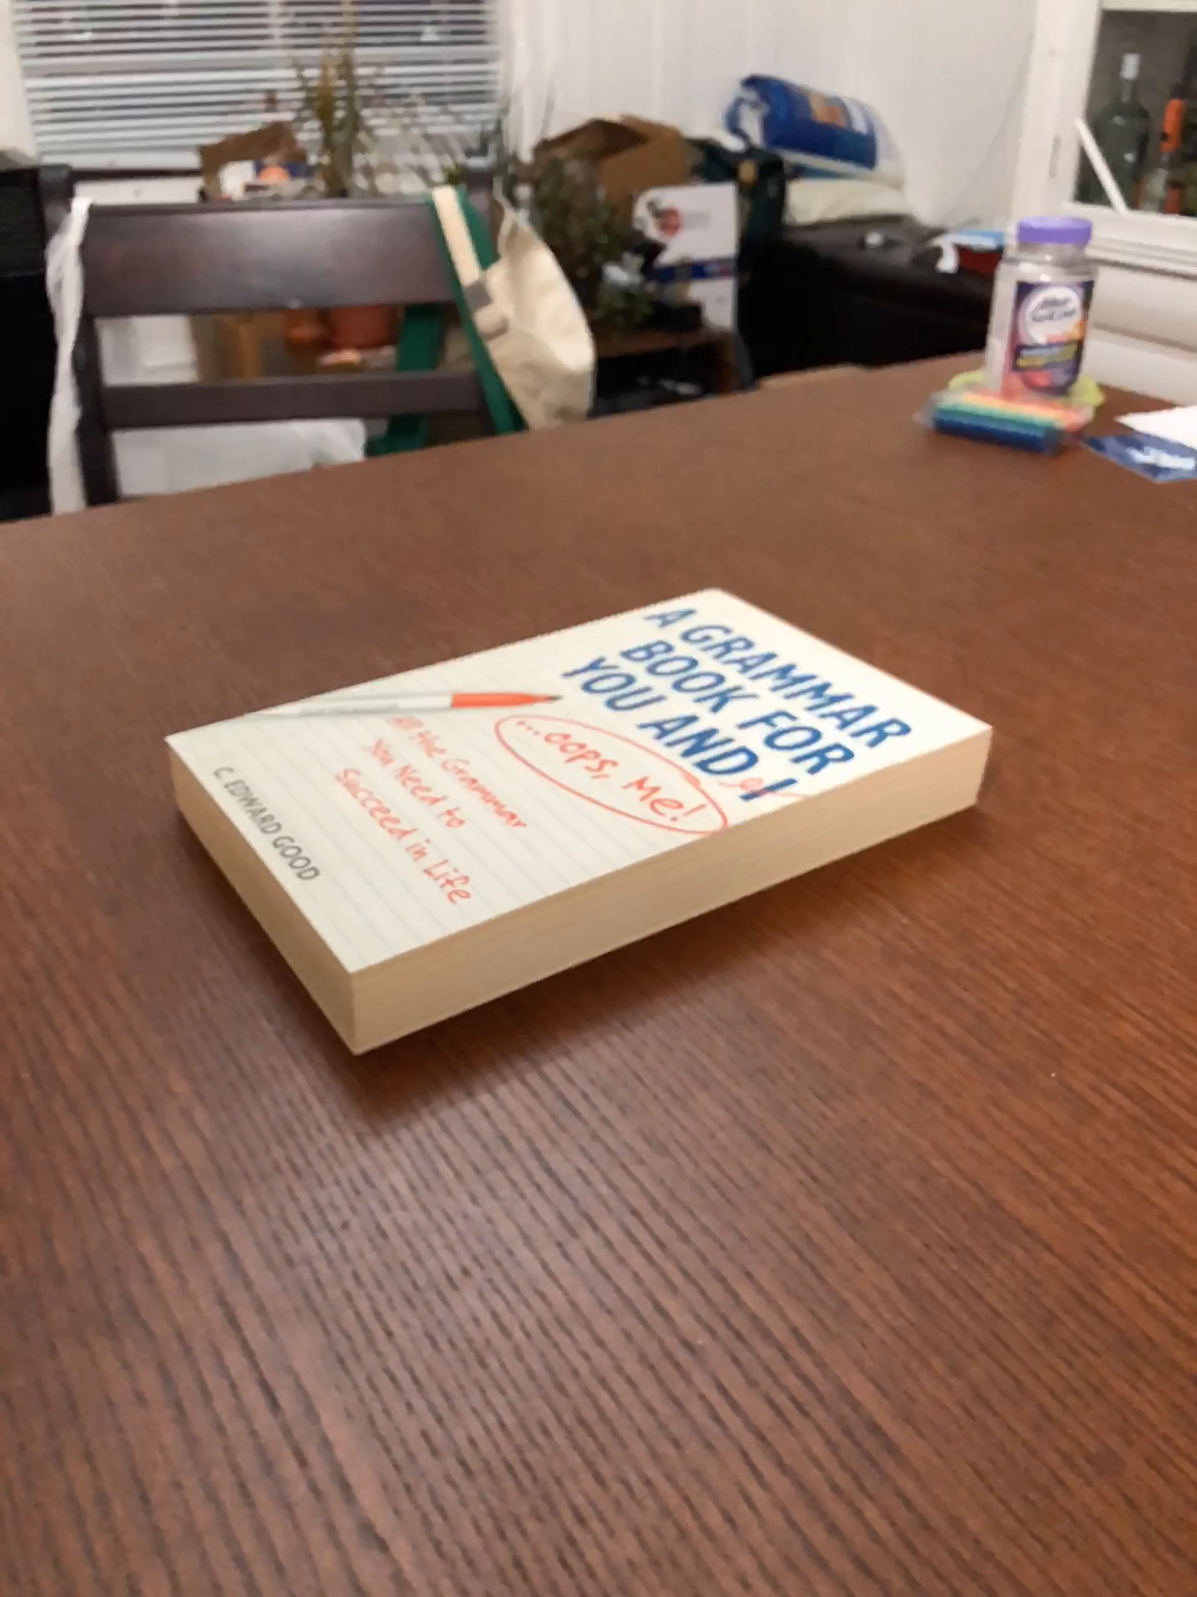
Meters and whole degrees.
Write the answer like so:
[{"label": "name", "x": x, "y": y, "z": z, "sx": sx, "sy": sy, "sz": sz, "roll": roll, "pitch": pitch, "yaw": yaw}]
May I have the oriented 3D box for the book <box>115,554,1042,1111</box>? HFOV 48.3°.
[{"label": "book", "x": -0.009, "y": -0.011, "z": 0.432, "sx": 0.240, "sy": 0.040, "sz": 0.171, "roll": -18, "pitch": 35, "yaw": -27}]
